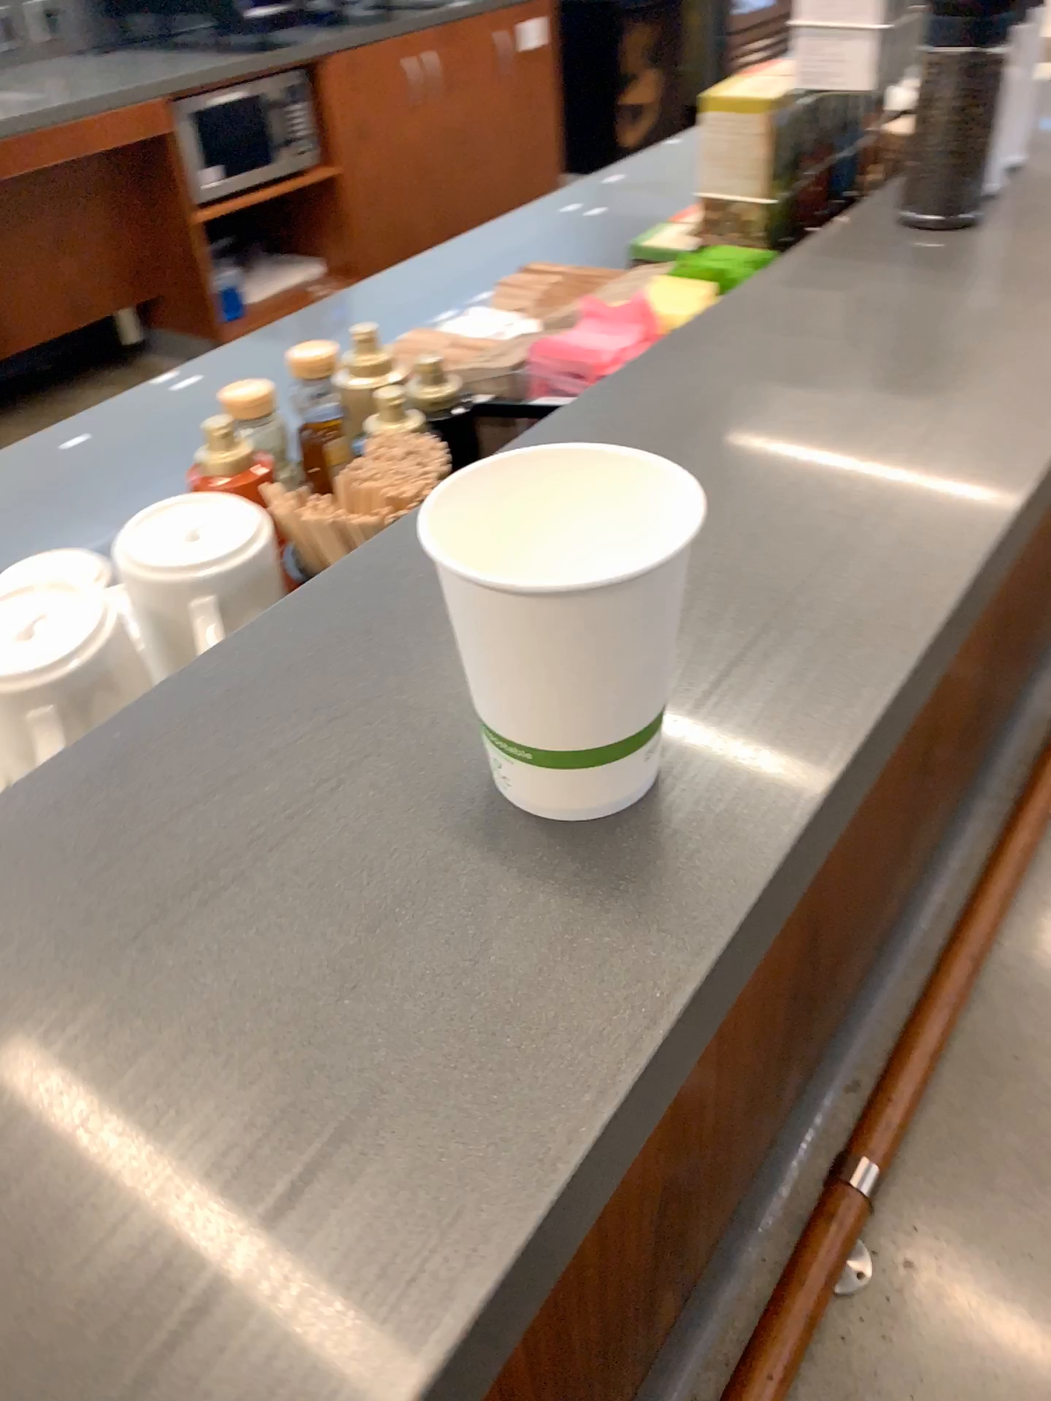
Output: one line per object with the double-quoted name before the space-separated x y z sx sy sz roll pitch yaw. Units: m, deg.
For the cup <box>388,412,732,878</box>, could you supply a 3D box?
"cup" 0.017 -0.020 0.362 0.080 0.119 0.080 -3 39 2
